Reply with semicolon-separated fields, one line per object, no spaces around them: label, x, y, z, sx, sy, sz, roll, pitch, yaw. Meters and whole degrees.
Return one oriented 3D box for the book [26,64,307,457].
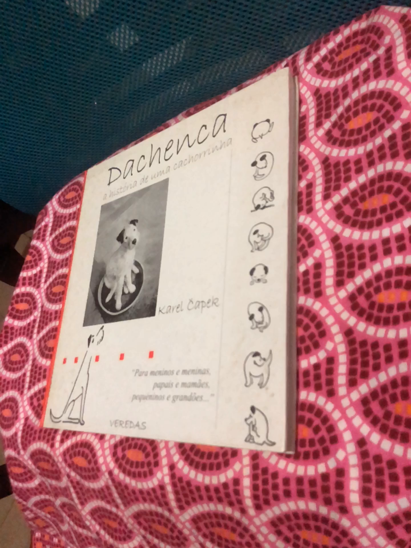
book;-0.032;-0.003;0.305;0.206;0.027;0.216;-12;64;39
